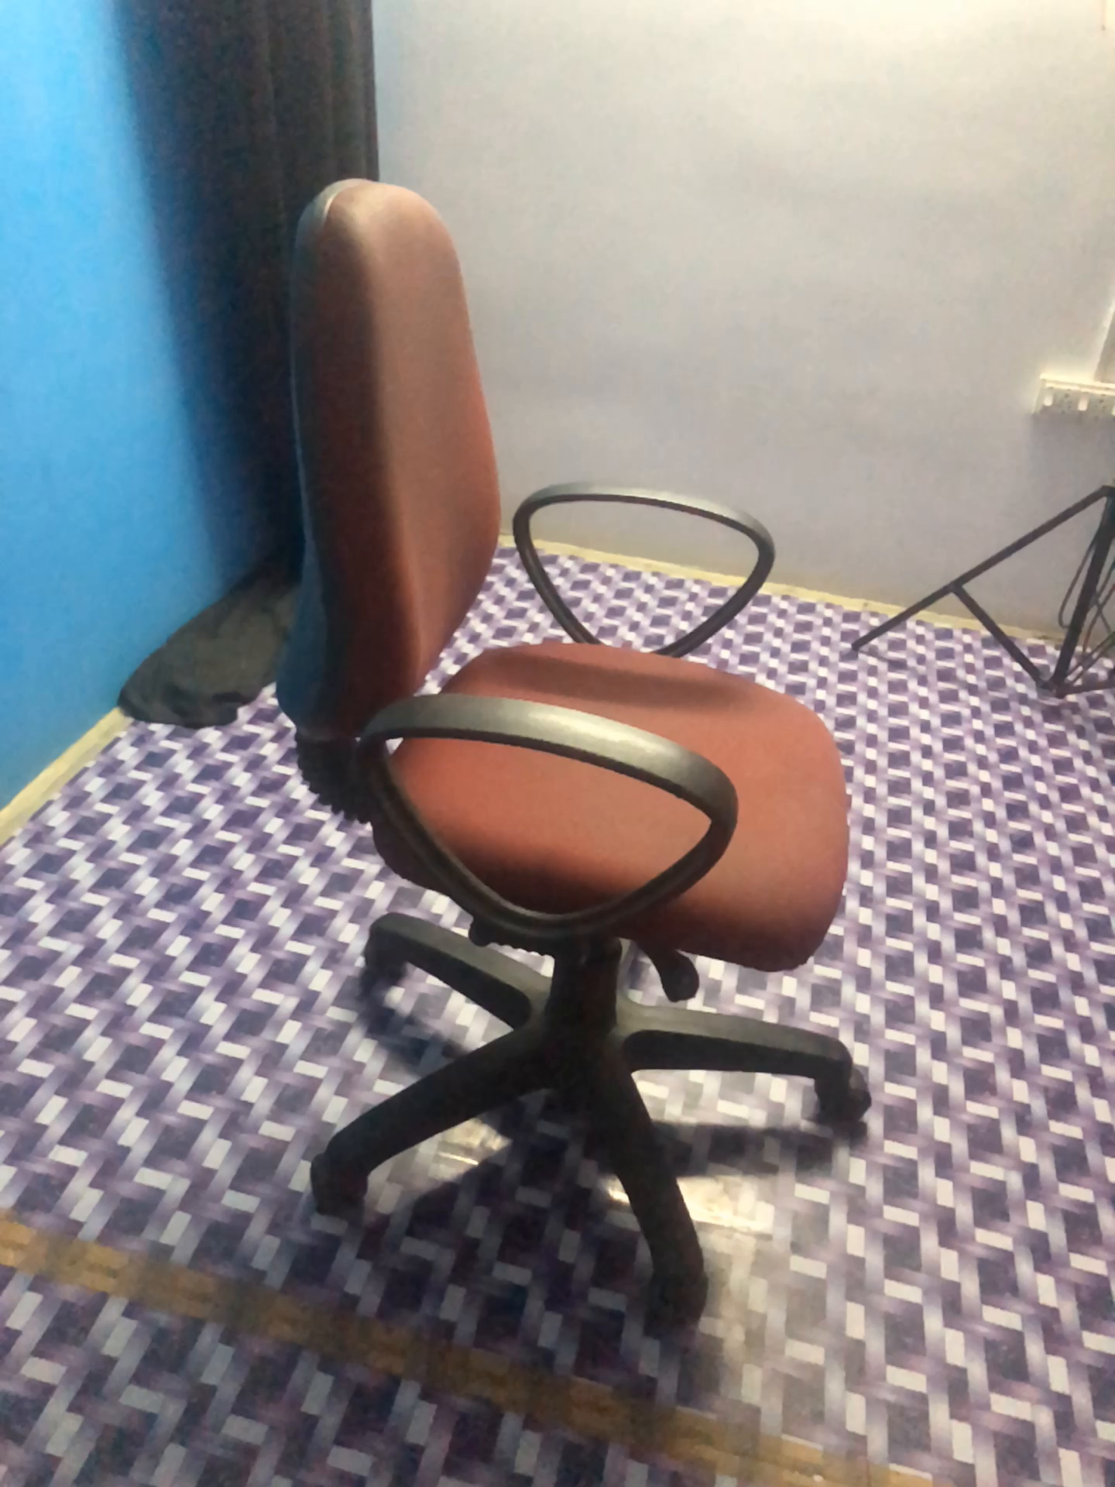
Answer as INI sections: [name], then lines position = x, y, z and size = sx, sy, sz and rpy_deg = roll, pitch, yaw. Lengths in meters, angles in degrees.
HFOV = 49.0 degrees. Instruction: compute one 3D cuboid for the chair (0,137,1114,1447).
[chair]
position = 0.069, -0.027, 1.192
size = 0.740, 0.895, 0.704
rpy_deg = 13, 31, 11
